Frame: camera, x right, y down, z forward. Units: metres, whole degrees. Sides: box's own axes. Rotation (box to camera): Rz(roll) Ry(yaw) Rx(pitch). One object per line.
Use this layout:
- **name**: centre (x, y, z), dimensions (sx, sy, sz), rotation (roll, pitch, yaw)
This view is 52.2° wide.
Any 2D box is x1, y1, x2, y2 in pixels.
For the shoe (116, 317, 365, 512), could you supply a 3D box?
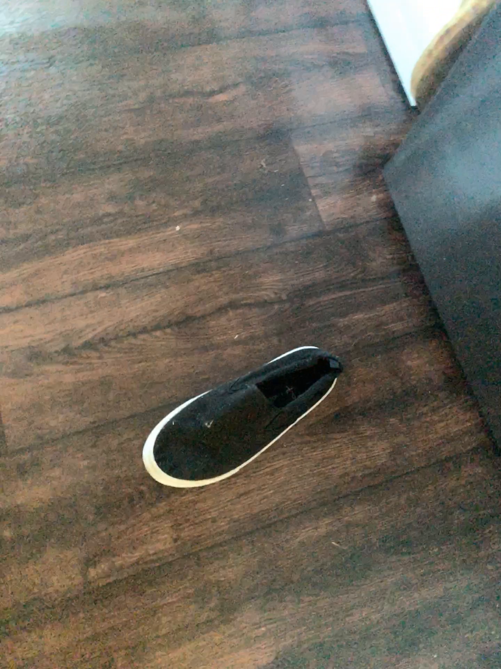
- **shoe**: centre (-0.011, 0.084, 0.563), dimensions (0.238, 0.080, 0.100), rotation (-26, 80, -14)
